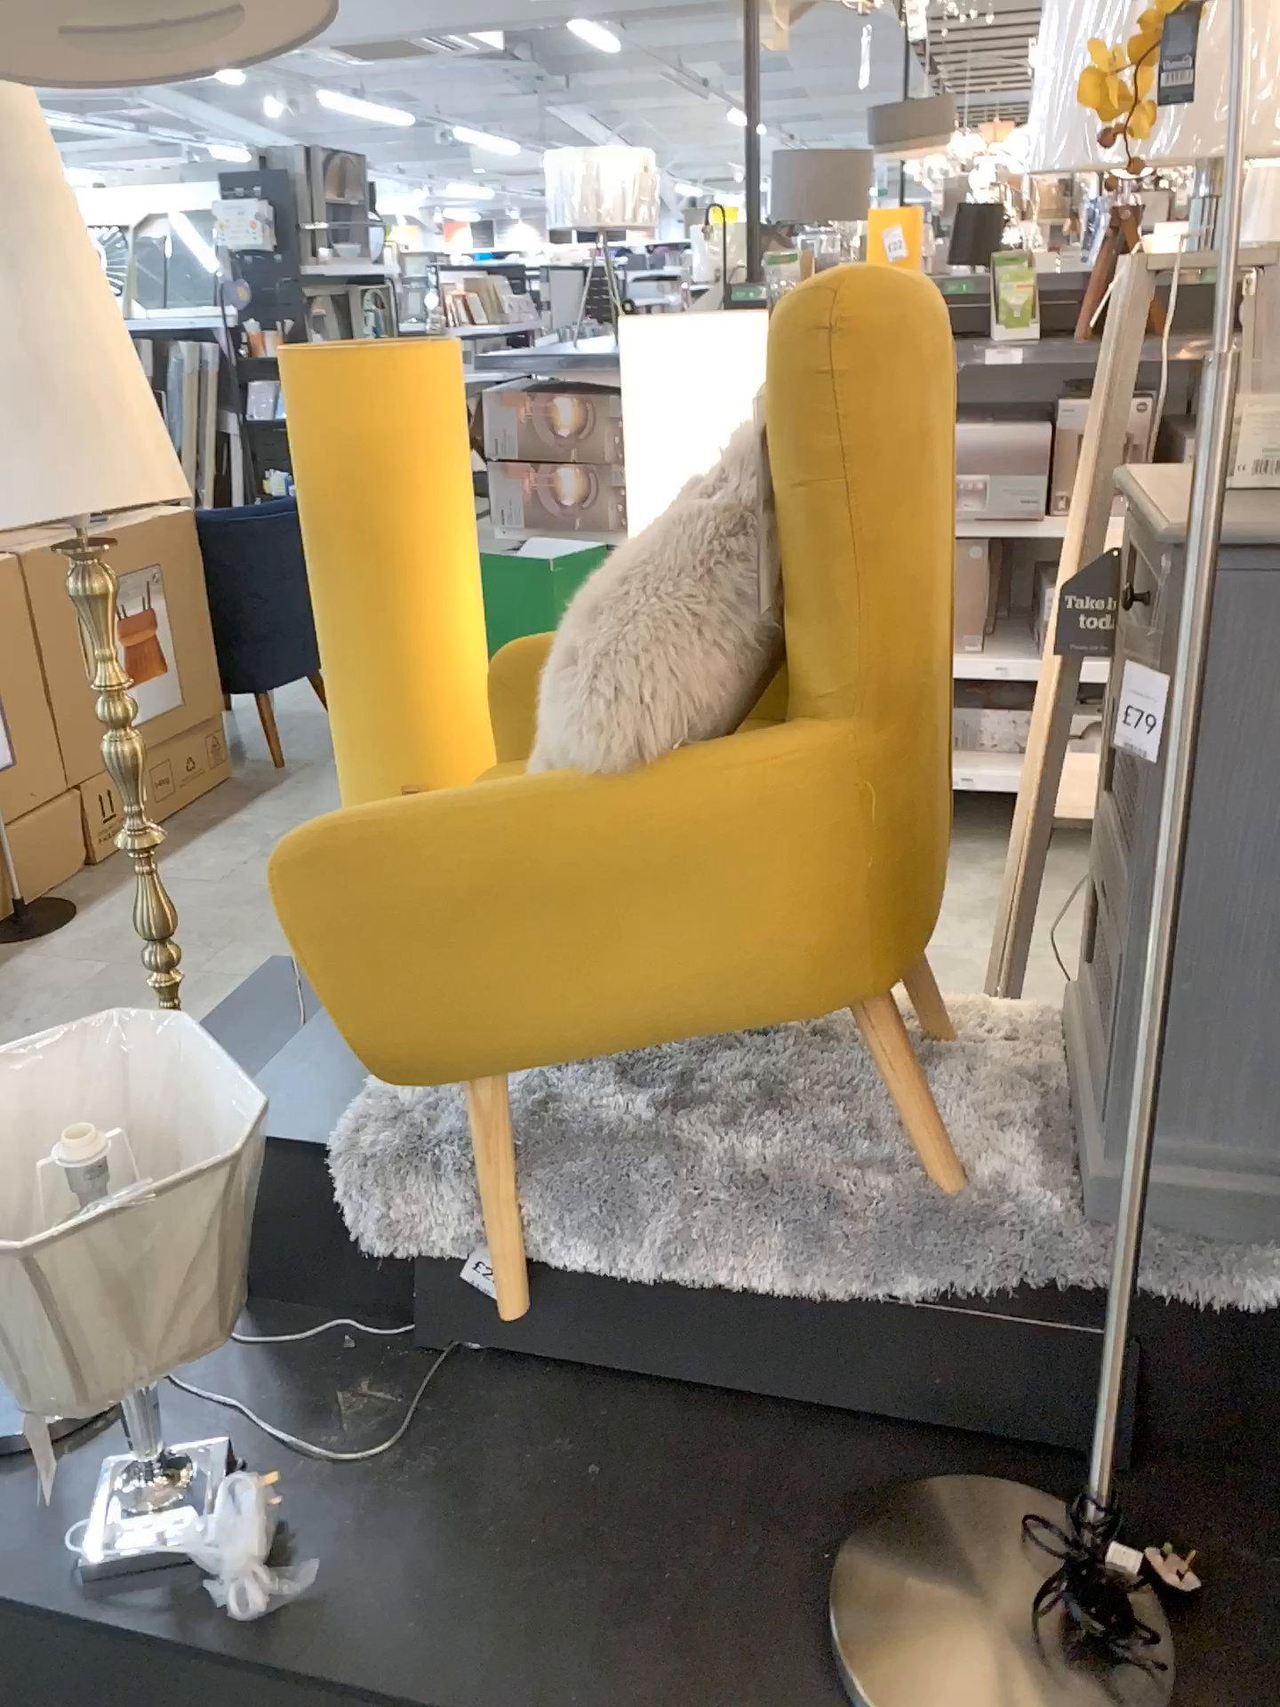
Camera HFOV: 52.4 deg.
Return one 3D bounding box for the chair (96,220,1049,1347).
[{"bbox_3d":[0.030,-0.069,1.471,0.710,1.022,0.595,-6,21,16],"label":"chair"}]
